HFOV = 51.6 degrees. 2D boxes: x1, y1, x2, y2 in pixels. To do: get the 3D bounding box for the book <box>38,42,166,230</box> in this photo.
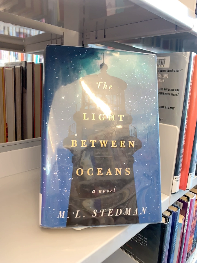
[{"bbox_3d":[0.005,0.002,0.277,0.155,0.225,0.042,1,-7,-9],"label":"book"}]
